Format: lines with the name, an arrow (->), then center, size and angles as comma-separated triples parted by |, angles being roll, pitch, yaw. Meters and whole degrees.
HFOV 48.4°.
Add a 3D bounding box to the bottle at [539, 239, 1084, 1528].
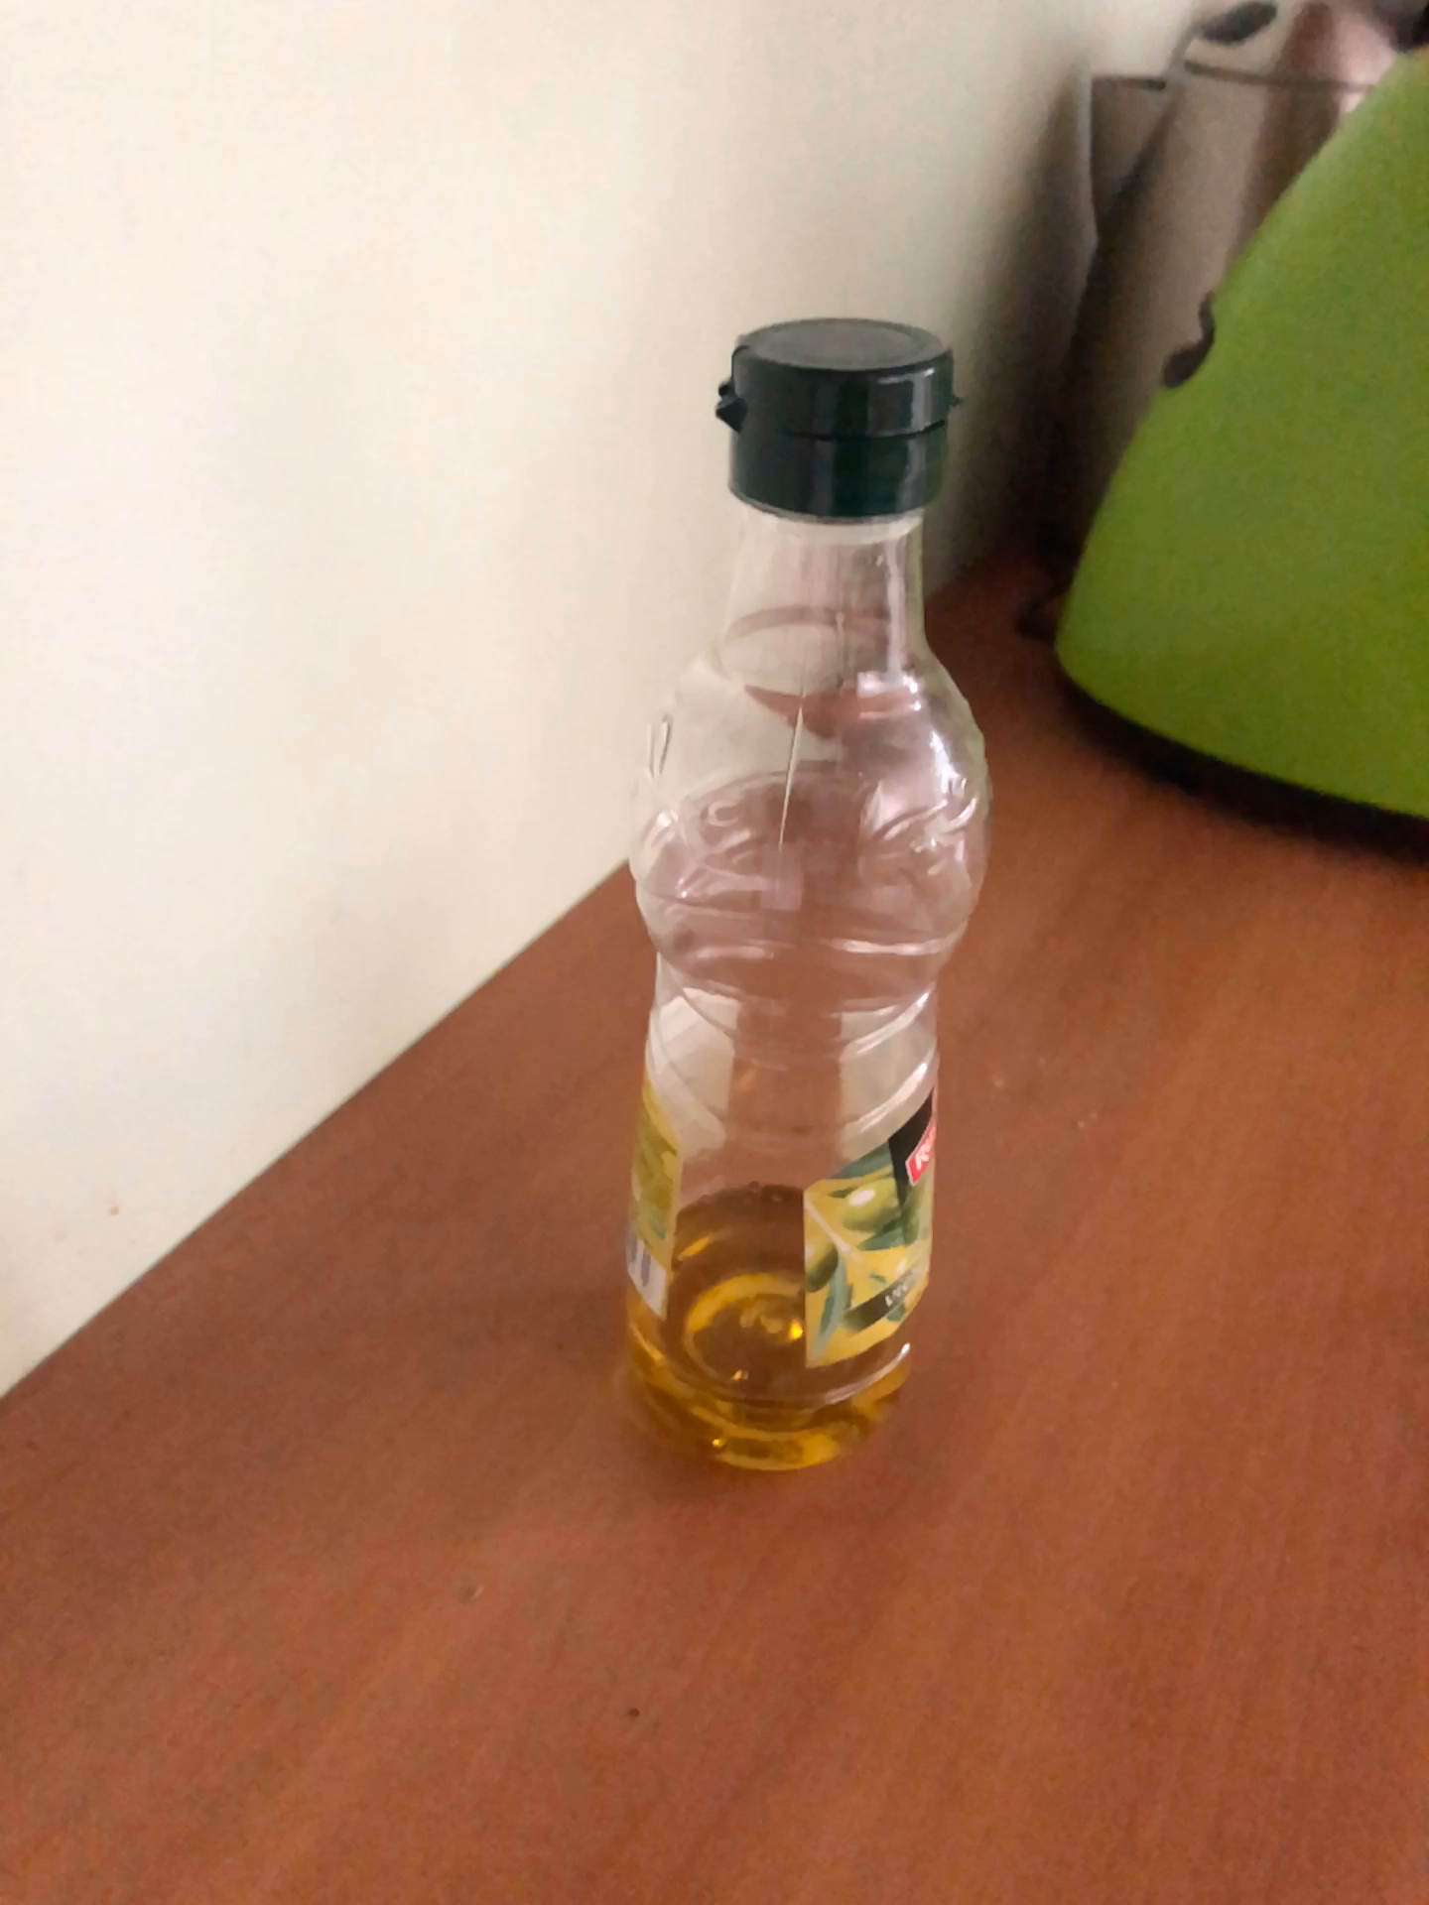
bottle -> 0.014, 0.001, 0.307 | 0.070, 0.238, 0.071 | 2, 35, -1
